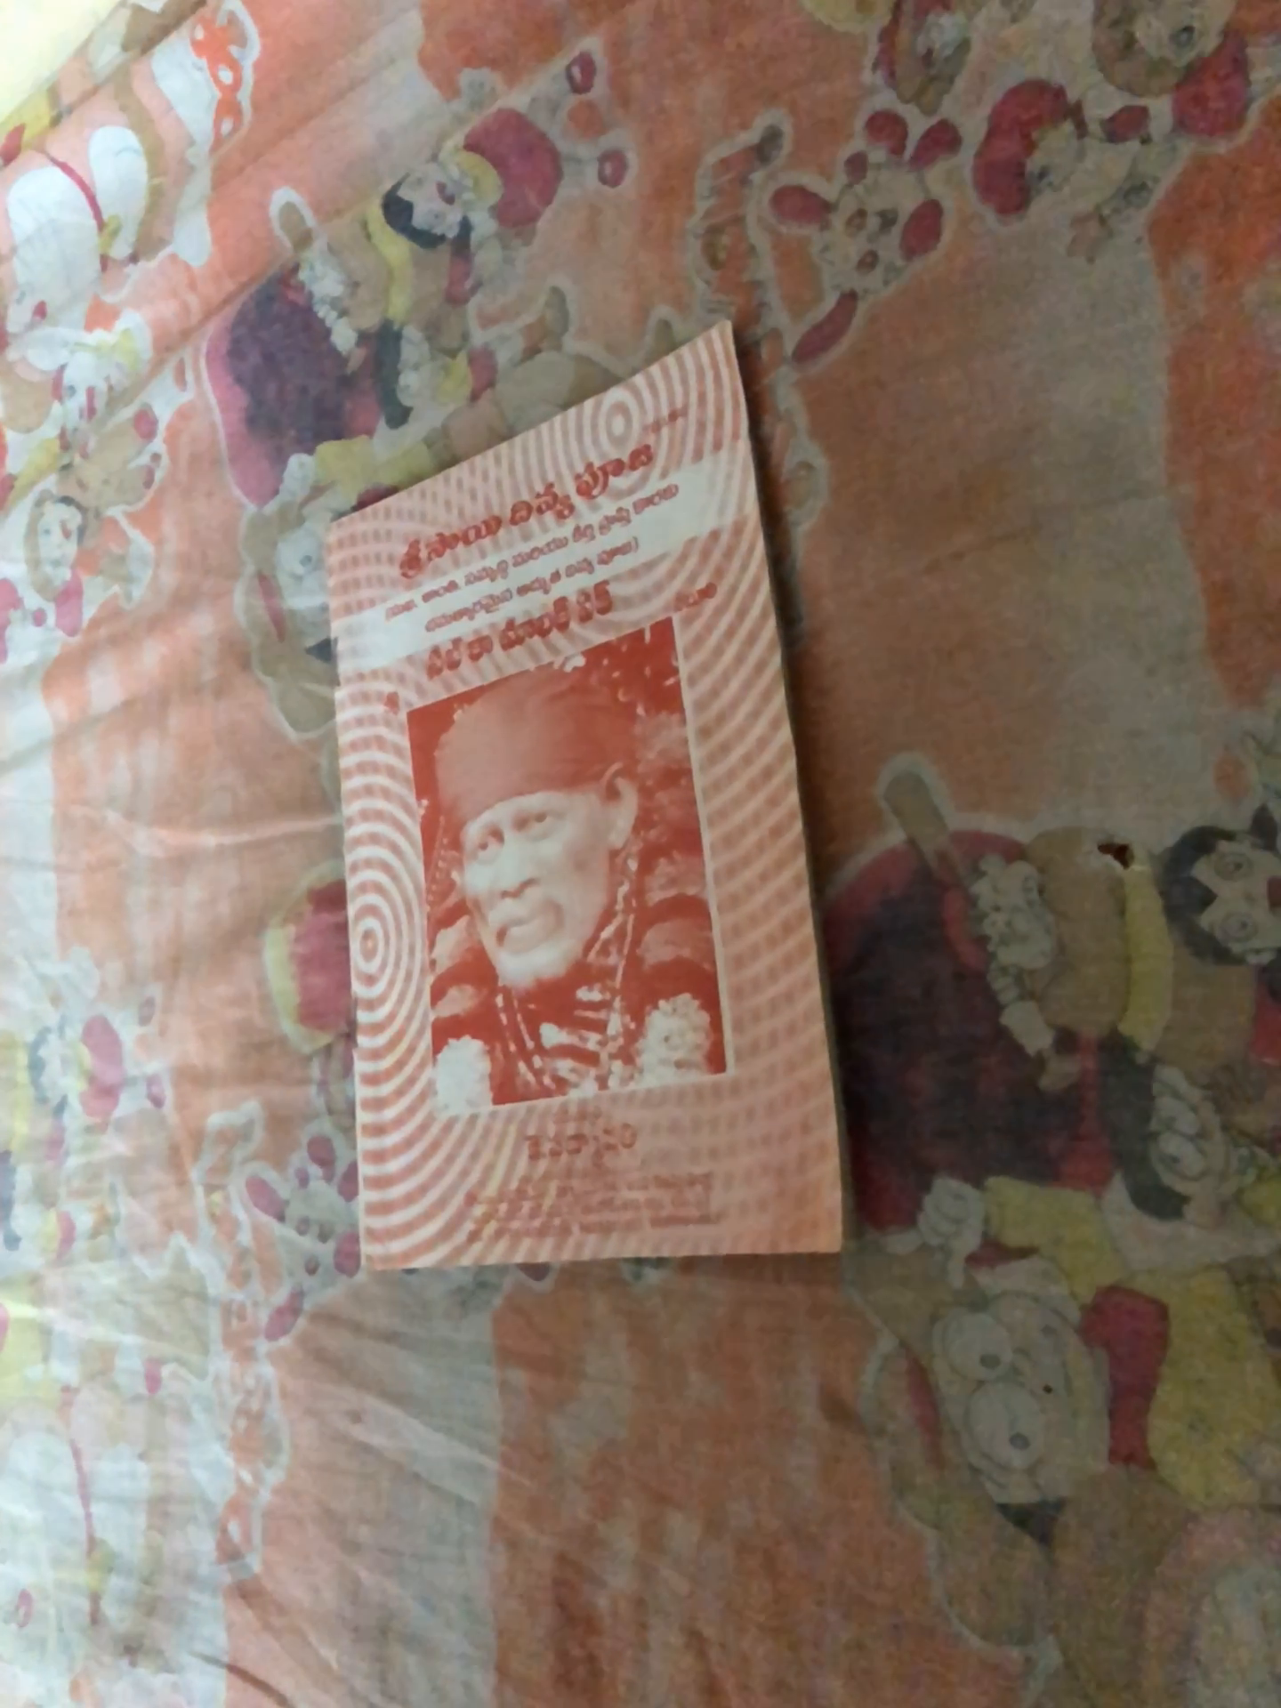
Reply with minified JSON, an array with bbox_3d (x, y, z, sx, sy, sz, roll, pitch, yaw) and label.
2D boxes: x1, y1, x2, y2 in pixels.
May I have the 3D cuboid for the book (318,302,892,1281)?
[{"bbox_3d":[-0.017,-0.006,0.285,0.121,0.010,0.173,-13,75,35],"label":"book"}]
